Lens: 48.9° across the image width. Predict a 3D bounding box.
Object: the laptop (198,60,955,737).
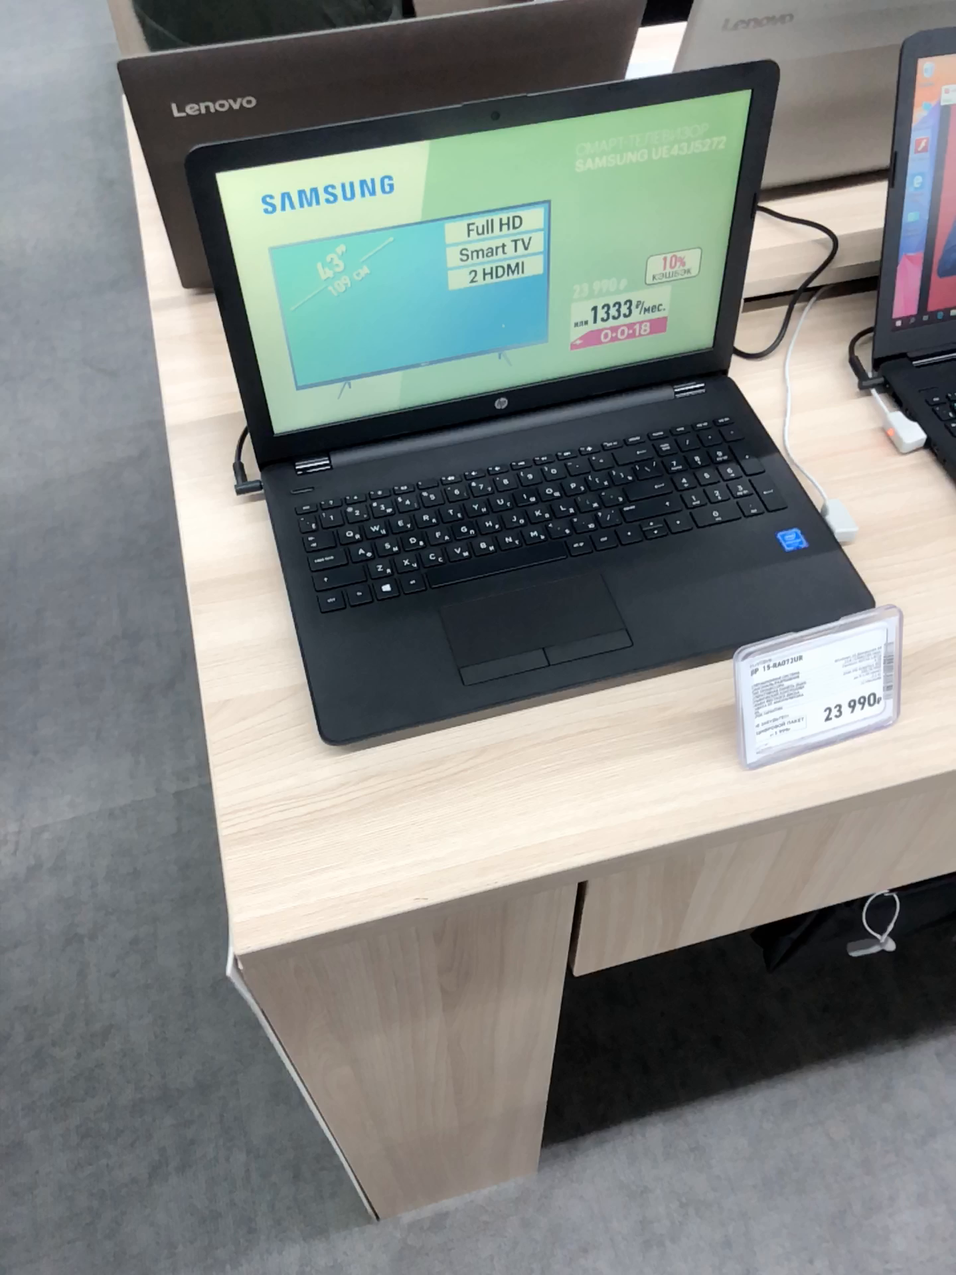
[{"bbox_3d":[0.048,-0.155,0.655,0.362,0.222,0.274,-13,54,-10],"label":"laptop"}]
